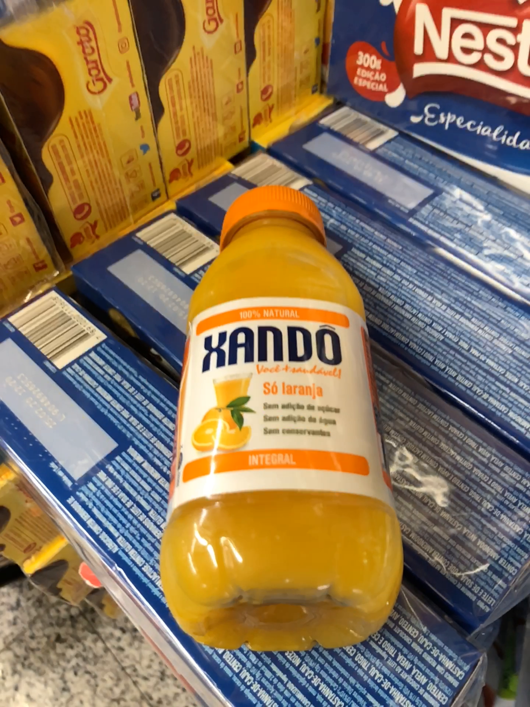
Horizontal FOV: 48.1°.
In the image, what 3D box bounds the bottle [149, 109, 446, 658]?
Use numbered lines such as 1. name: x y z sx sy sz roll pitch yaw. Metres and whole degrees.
1. bottle: 0.005 0.002 0.203 0.060 0.080 0.171 -1 54 0
